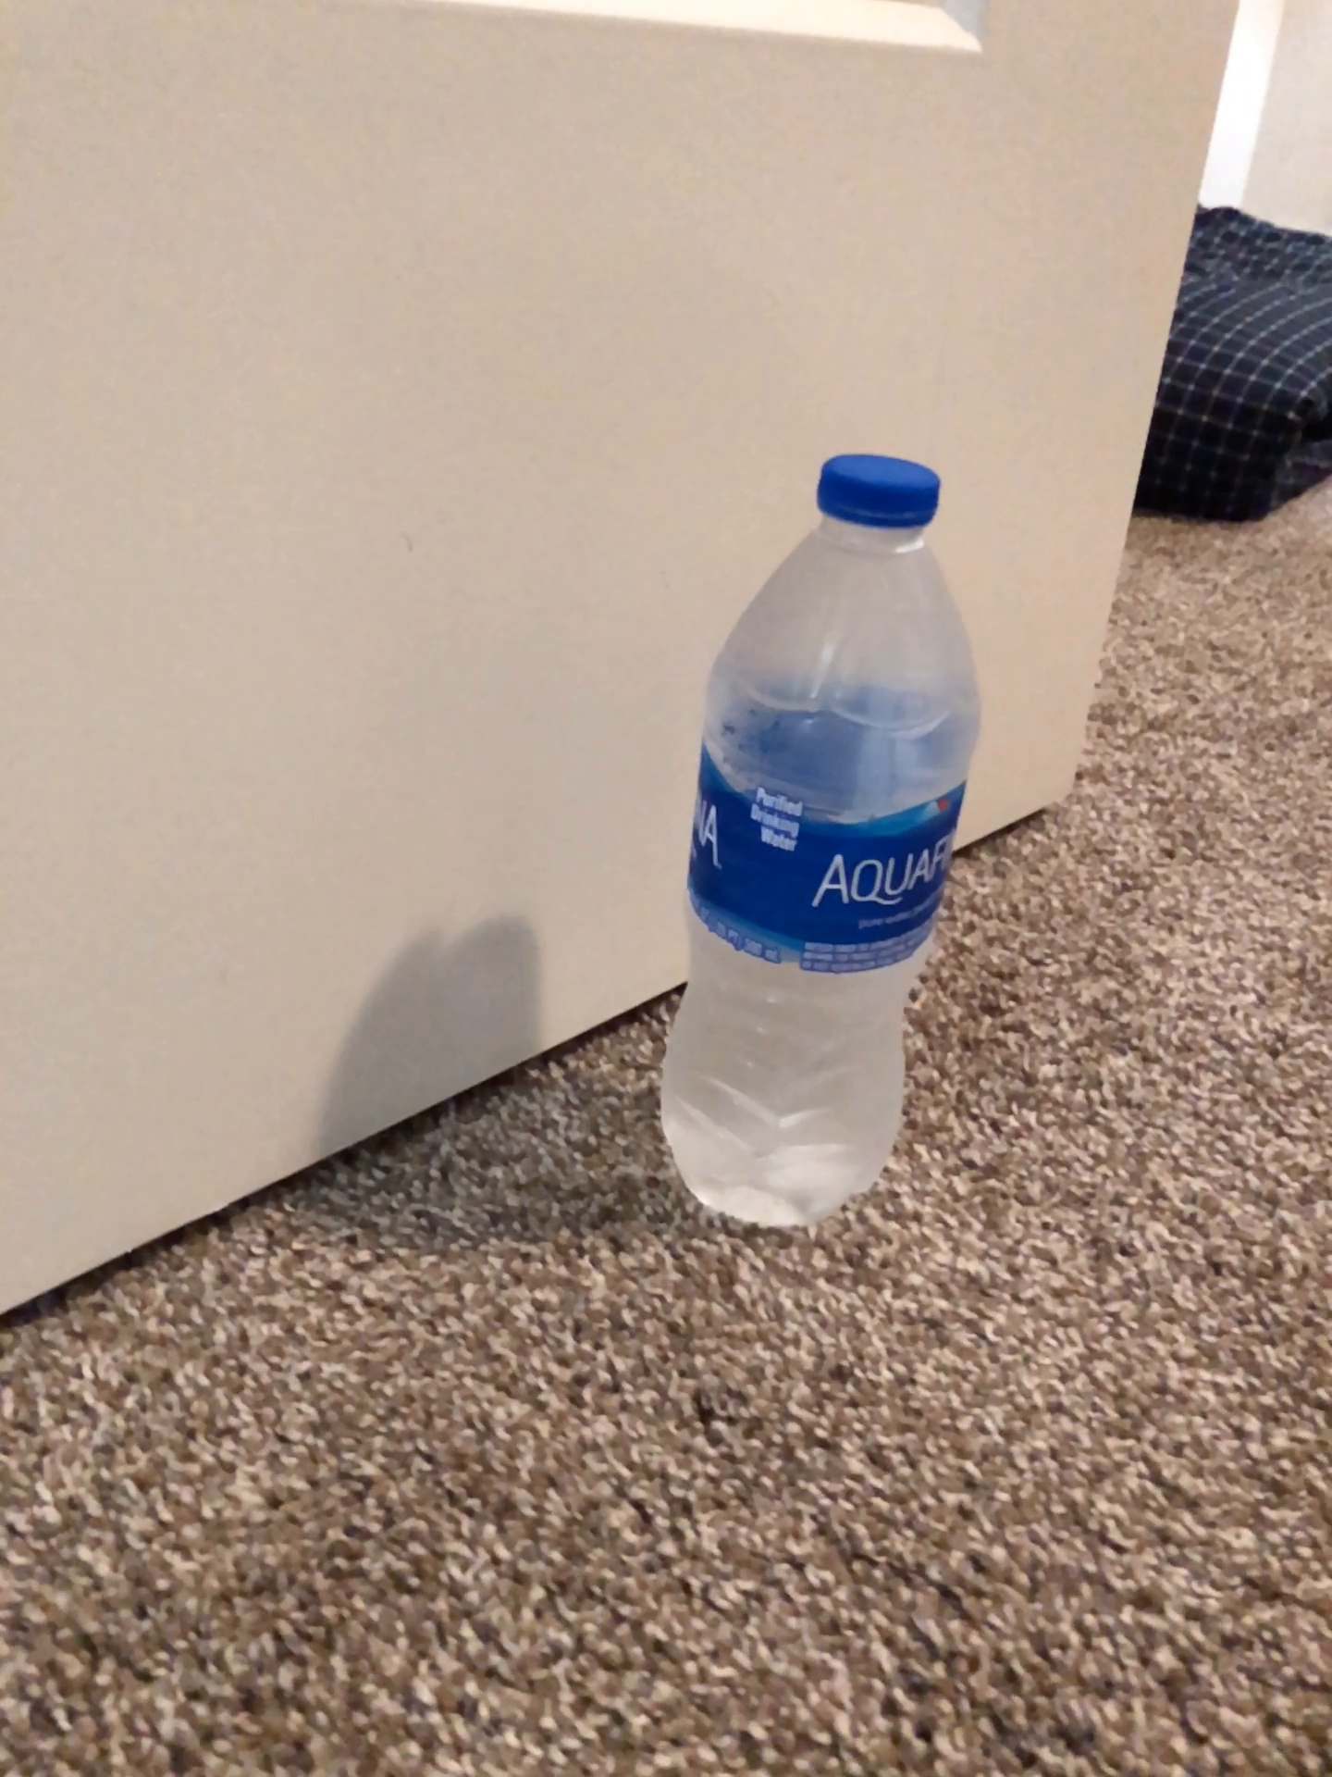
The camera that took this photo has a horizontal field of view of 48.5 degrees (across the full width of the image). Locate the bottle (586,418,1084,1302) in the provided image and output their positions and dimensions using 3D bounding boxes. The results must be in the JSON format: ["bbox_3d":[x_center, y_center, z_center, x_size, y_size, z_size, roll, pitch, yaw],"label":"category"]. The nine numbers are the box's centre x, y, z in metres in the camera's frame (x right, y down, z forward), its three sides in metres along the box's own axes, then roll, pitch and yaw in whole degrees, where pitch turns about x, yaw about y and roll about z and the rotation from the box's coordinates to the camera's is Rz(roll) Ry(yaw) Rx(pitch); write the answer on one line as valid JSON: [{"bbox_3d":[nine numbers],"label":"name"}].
[{"bbox_3d":[0.033,-0.006,0.357,0.070,0.189,0.070,3,29,-2],"label":"bottle"}]
